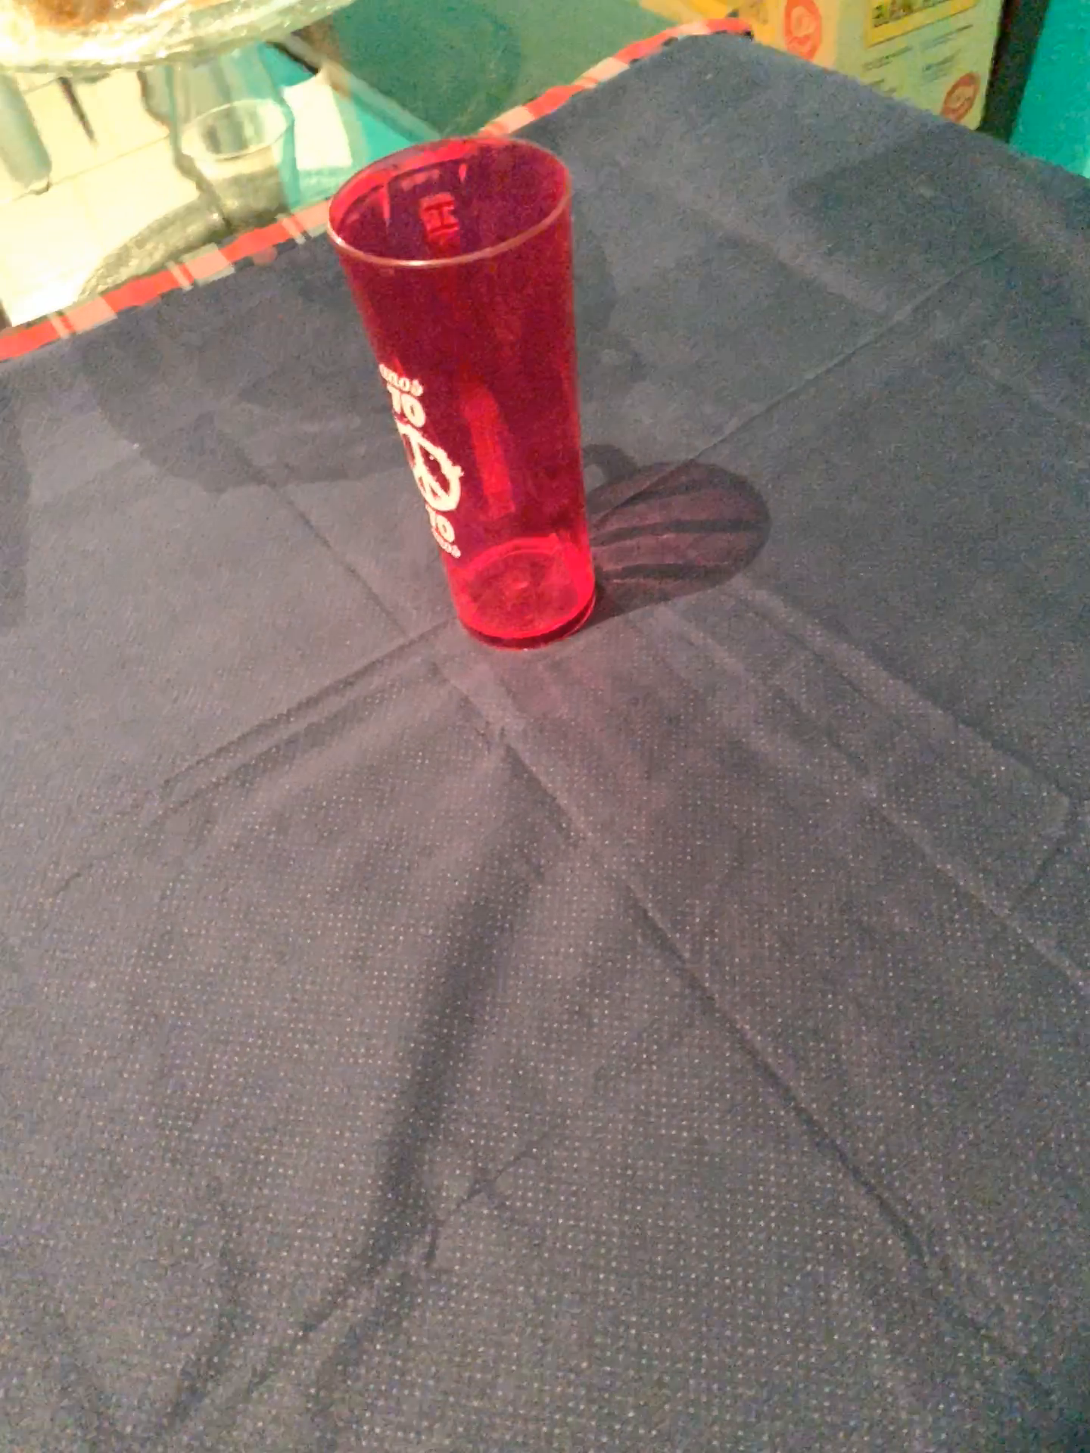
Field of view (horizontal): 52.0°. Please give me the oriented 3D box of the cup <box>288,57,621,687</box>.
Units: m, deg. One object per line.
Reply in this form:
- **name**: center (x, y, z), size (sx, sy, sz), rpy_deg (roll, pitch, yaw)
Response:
- **cup**: center (-0.026, -0.112, 0.385), size (0.070, 0.169, 0.100), rpy_deg (-14, 53, -2)
